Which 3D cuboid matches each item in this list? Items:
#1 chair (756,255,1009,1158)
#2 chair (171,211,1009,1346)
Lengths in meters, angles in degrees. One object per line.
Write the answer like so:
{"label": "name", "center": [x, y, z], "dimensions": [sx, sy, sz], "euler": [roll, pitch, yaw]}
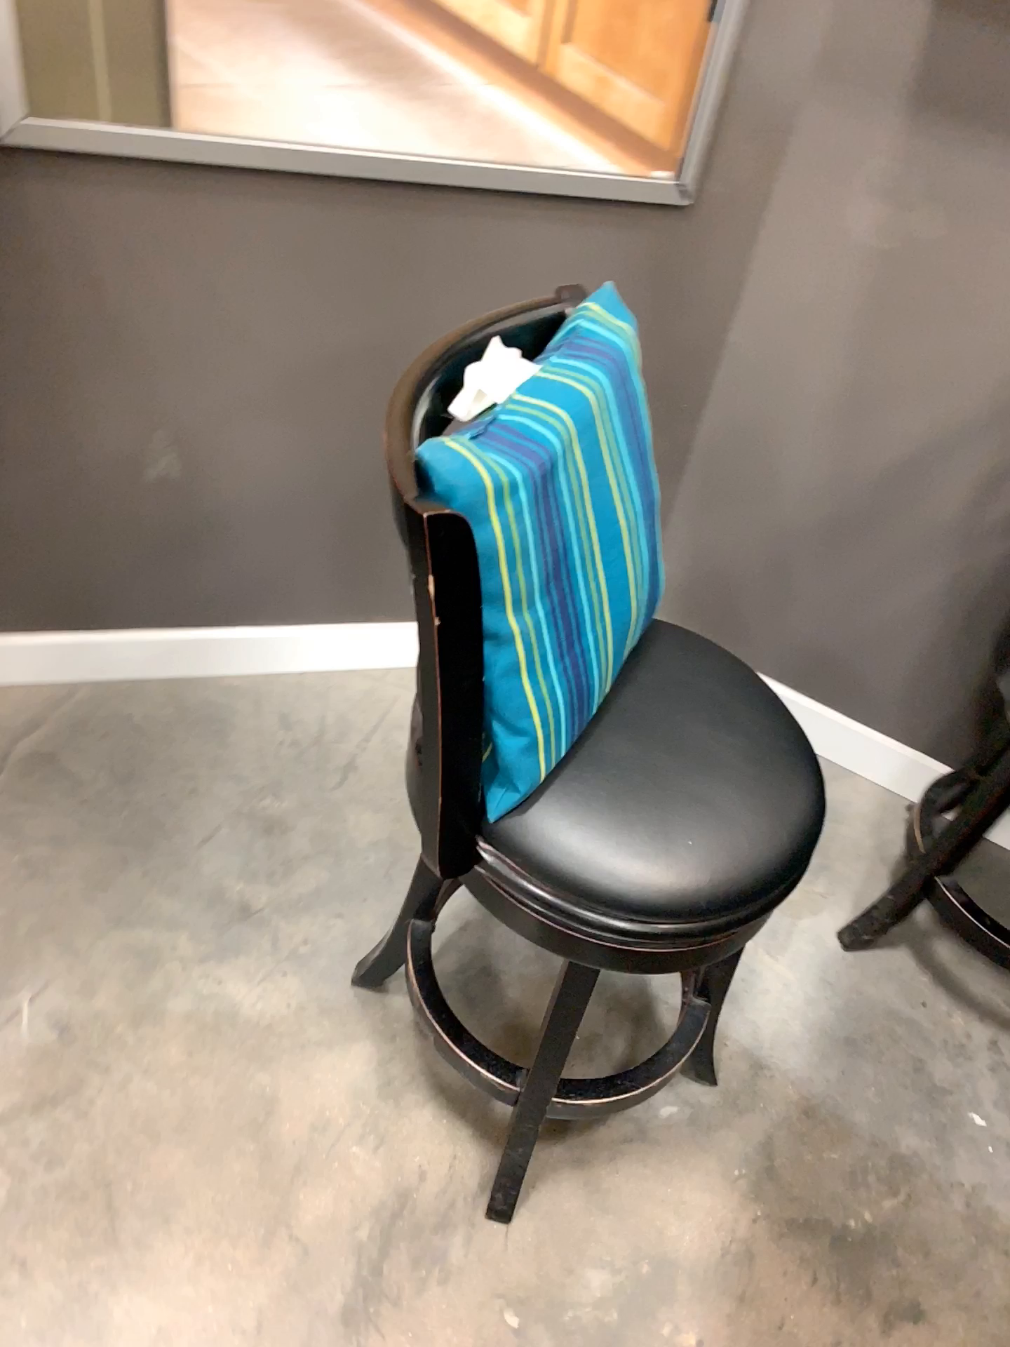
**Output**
{"label": "chair", "center": [0.854, 0.060, 1.388], "dimensions": [0.596, 0.923, 0.538], "euler": [28, 44, 17]}
{"label": "chair", "center": [0.092, 0.128, 1.085], "dimensions": [0.596, 0.903, 0.538], "euler": [28, 44, 17]}
